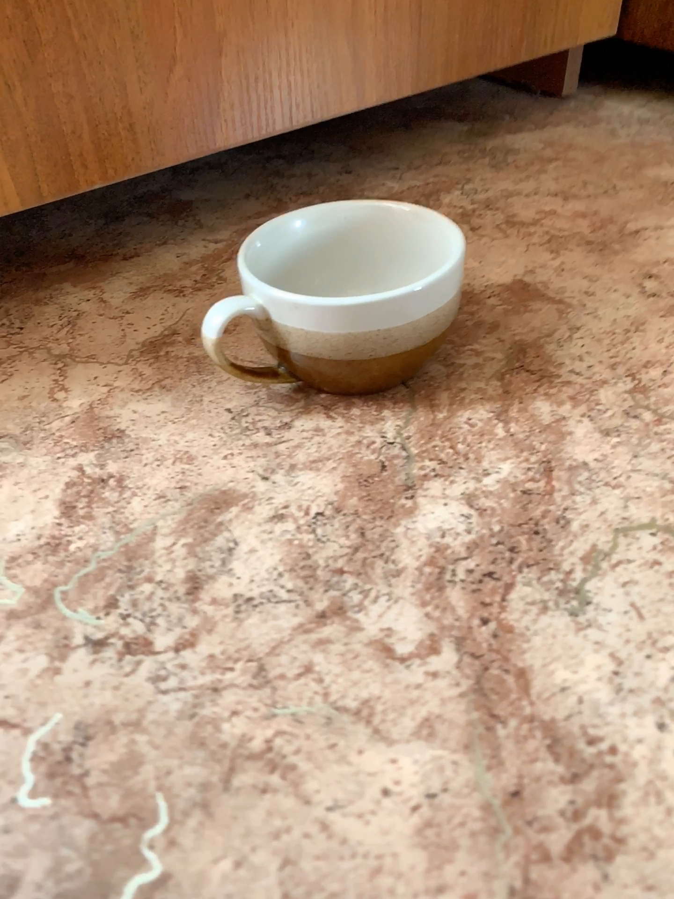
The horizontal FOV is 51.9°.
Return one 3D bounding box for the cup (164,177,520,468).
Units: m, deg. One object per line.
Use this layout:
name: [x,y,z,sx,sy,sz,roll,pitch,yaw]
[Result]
cup: [0.001,-0.061,0.301,0.115,0.059,0.091,-23,46,-20]
